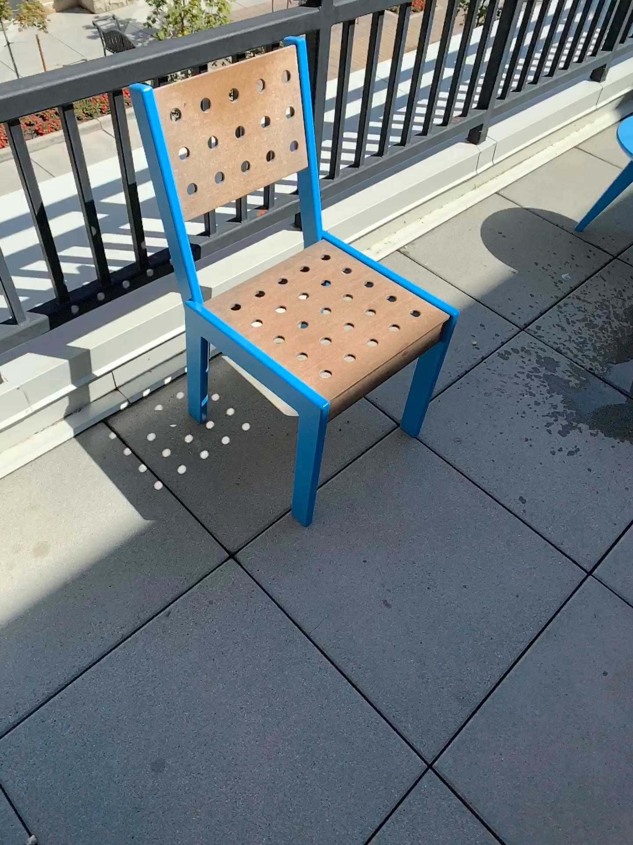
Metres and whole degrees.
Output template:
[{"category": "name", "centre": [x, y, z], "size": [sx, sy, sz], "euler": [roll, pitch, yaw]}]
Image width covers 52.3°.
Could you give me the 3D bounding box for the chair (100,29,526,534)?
[{"category": "chair", "centre": [-0.044, -0.310, 1.540], "size": [0.471, 0.857, 0.671], "euler": [-35, 61, -29]}]
